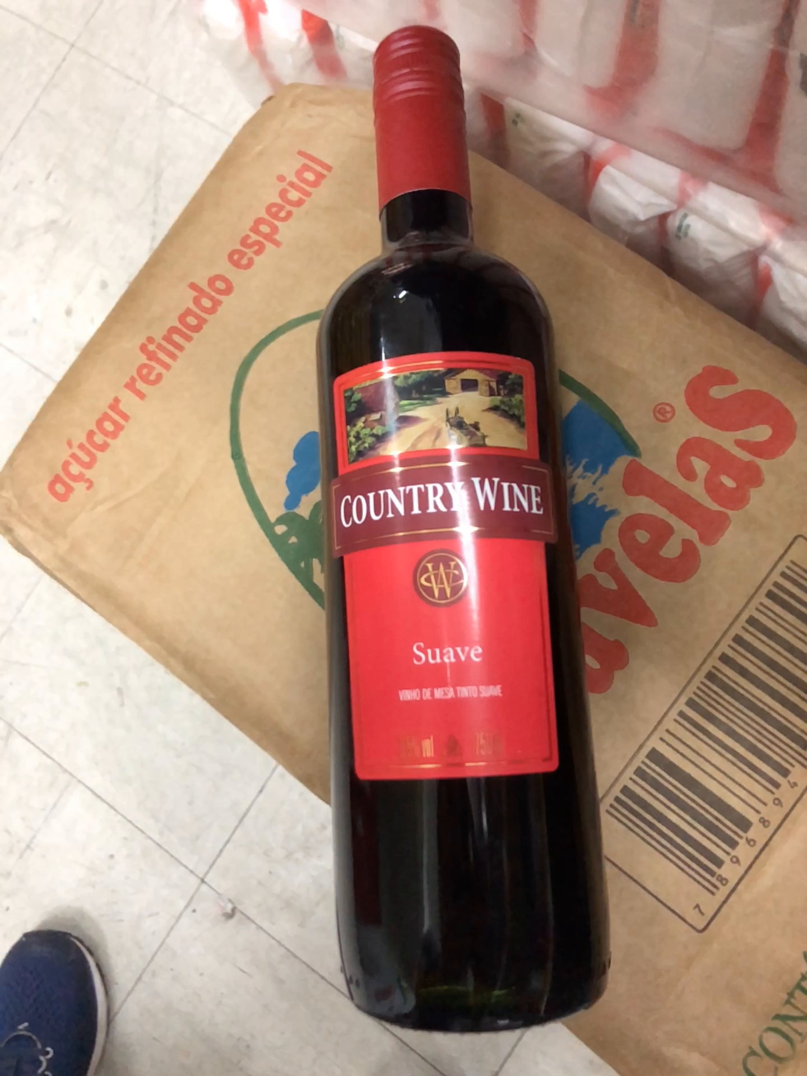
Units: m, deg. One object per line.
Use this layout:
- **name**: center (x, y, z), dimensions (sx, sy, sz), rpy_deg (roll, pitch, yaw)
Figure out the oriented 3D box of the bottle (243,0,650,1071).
- **bottle**: center (0.011, -0.018, 0.254), dimensions (0.080, 0.060, 0.290), rpy_deg (-6, 83, 11)
